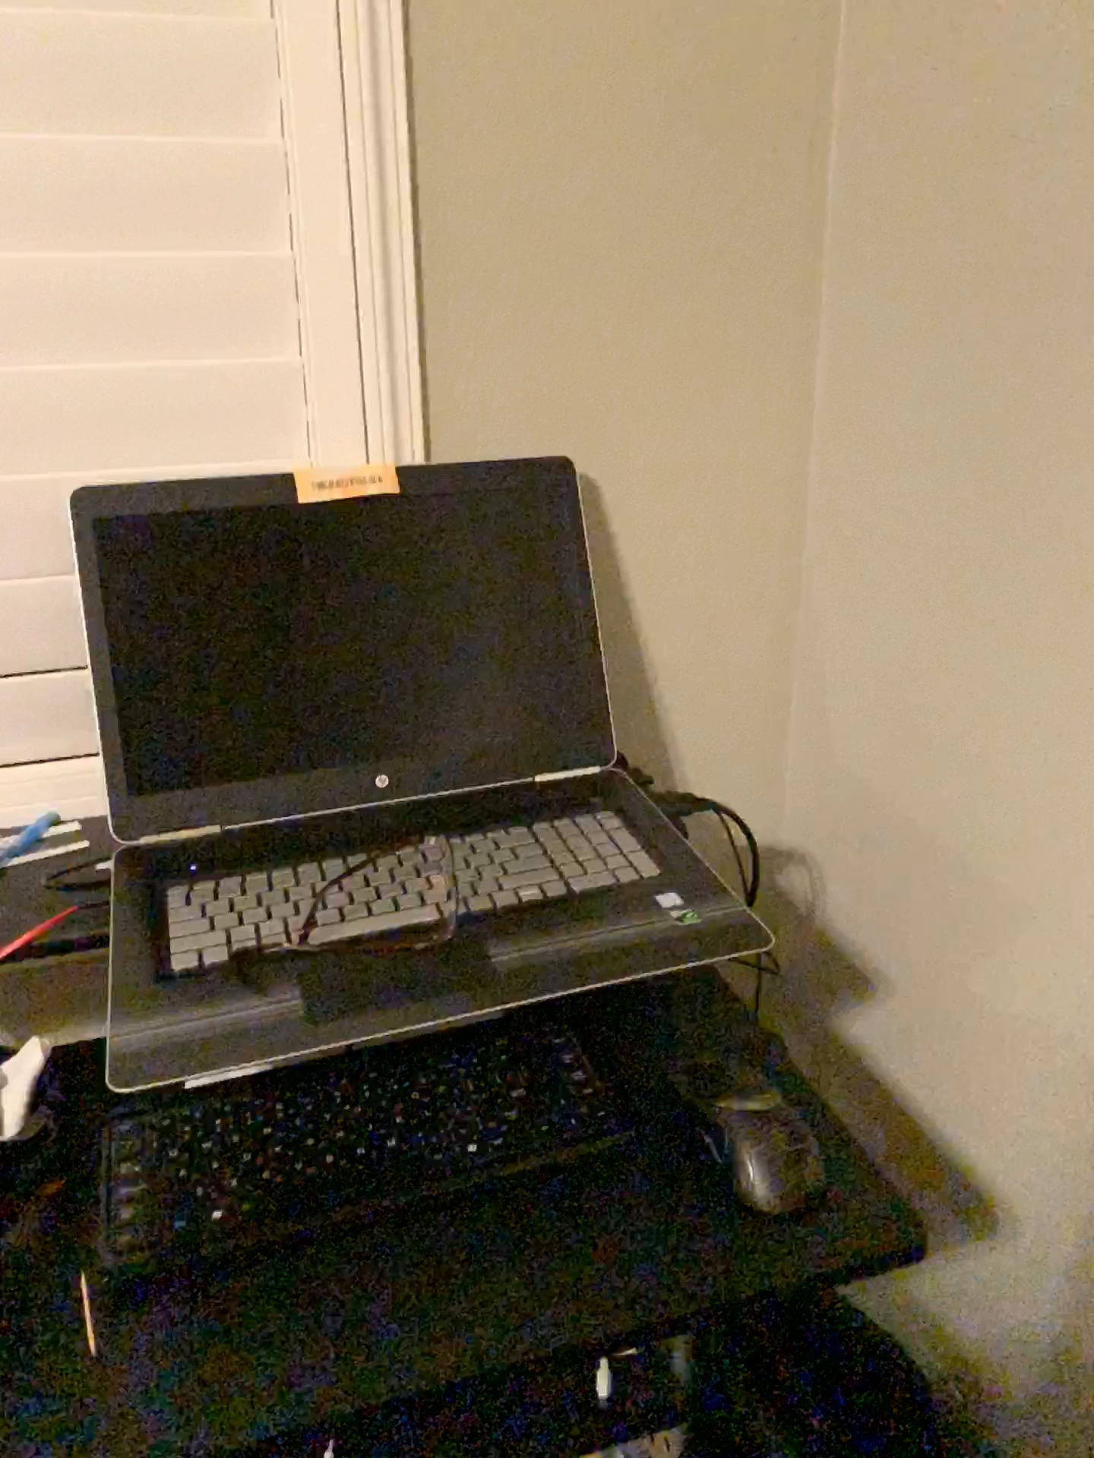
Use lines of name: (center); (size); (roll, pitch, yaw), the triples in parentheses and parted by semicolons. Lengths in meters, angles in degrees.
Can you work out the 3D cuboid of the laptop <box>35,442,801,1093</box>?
laptop: (-0.116, -0.030, 0.843); (0.433, 0.263, 0.421); (-8, 25, -17)
